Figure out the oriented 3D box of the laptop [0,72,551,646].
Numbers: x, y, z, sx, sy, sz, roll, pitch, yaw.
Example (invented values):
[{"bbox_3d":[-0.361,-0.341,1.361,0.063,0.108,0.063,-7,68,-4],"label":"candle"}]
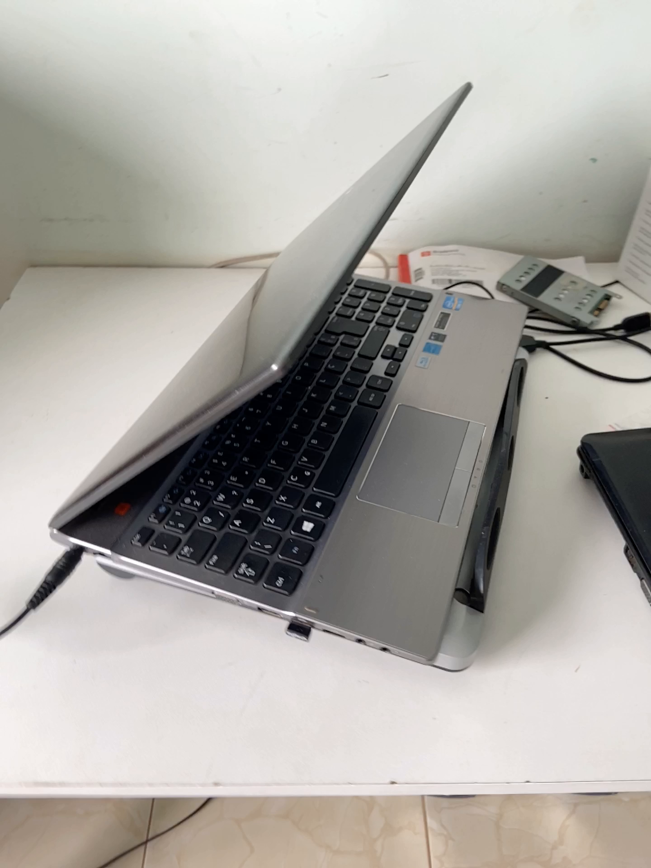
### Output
[{"bbox_3d":[0.001,-0.091,0.454,0.230,0.164,0.361,15,44,13],"label":"laptop"}]
